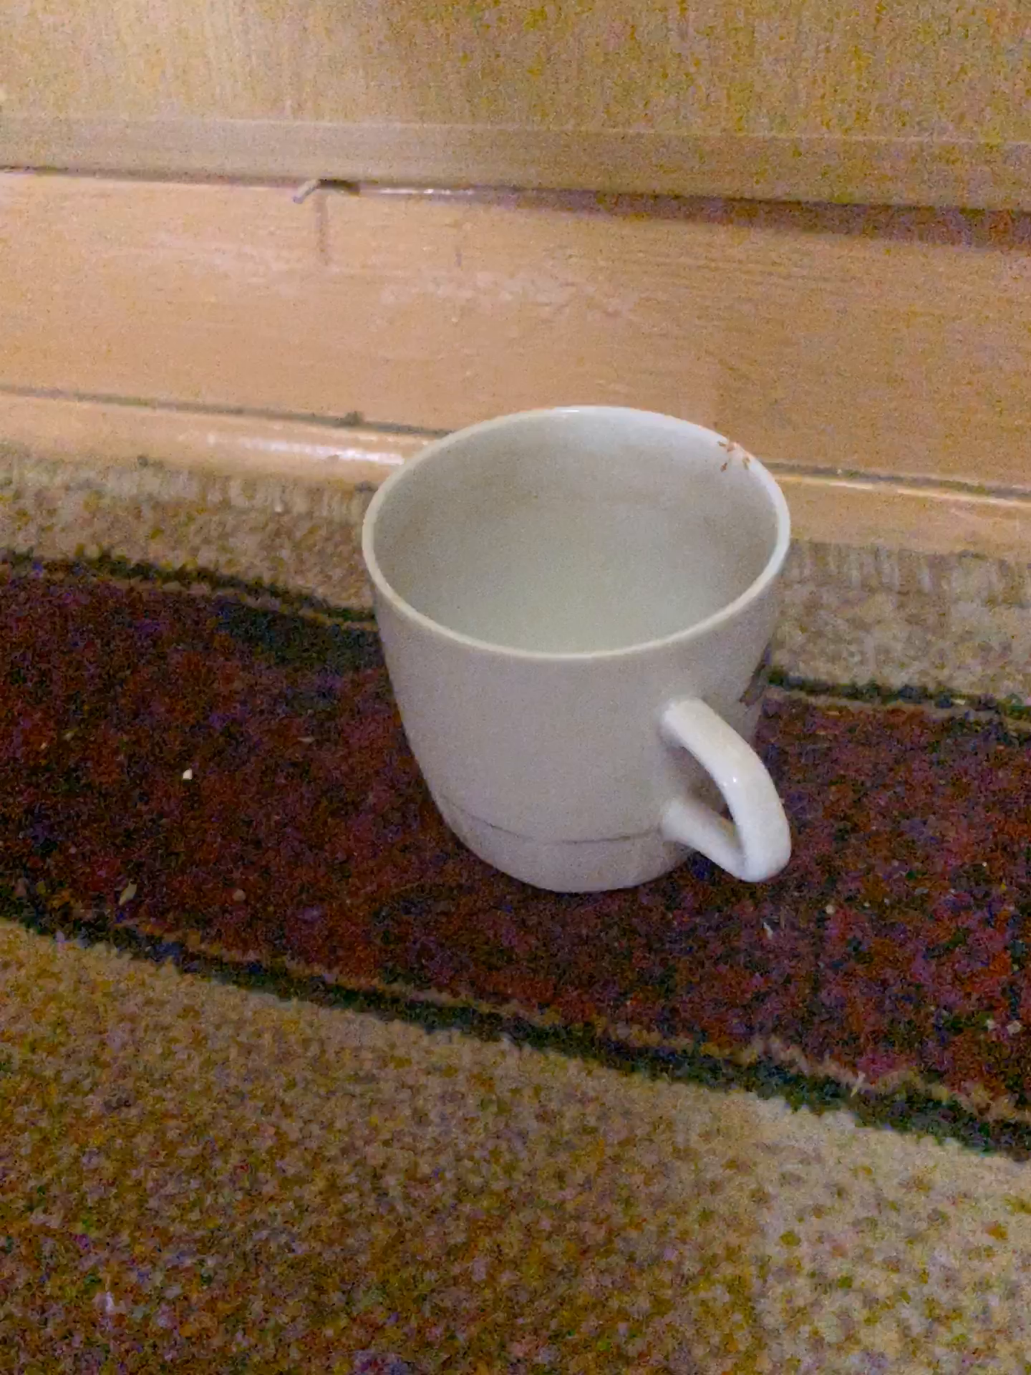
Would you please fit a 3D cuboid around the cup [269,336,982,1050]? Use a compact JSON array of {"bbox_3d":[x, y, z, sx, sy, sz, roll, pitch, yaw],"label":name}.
[{"bbox_3d":[0.015,-0.008,0.226,0.081,0.075,0.114,-25,46,-21],"label":"cup"}]
